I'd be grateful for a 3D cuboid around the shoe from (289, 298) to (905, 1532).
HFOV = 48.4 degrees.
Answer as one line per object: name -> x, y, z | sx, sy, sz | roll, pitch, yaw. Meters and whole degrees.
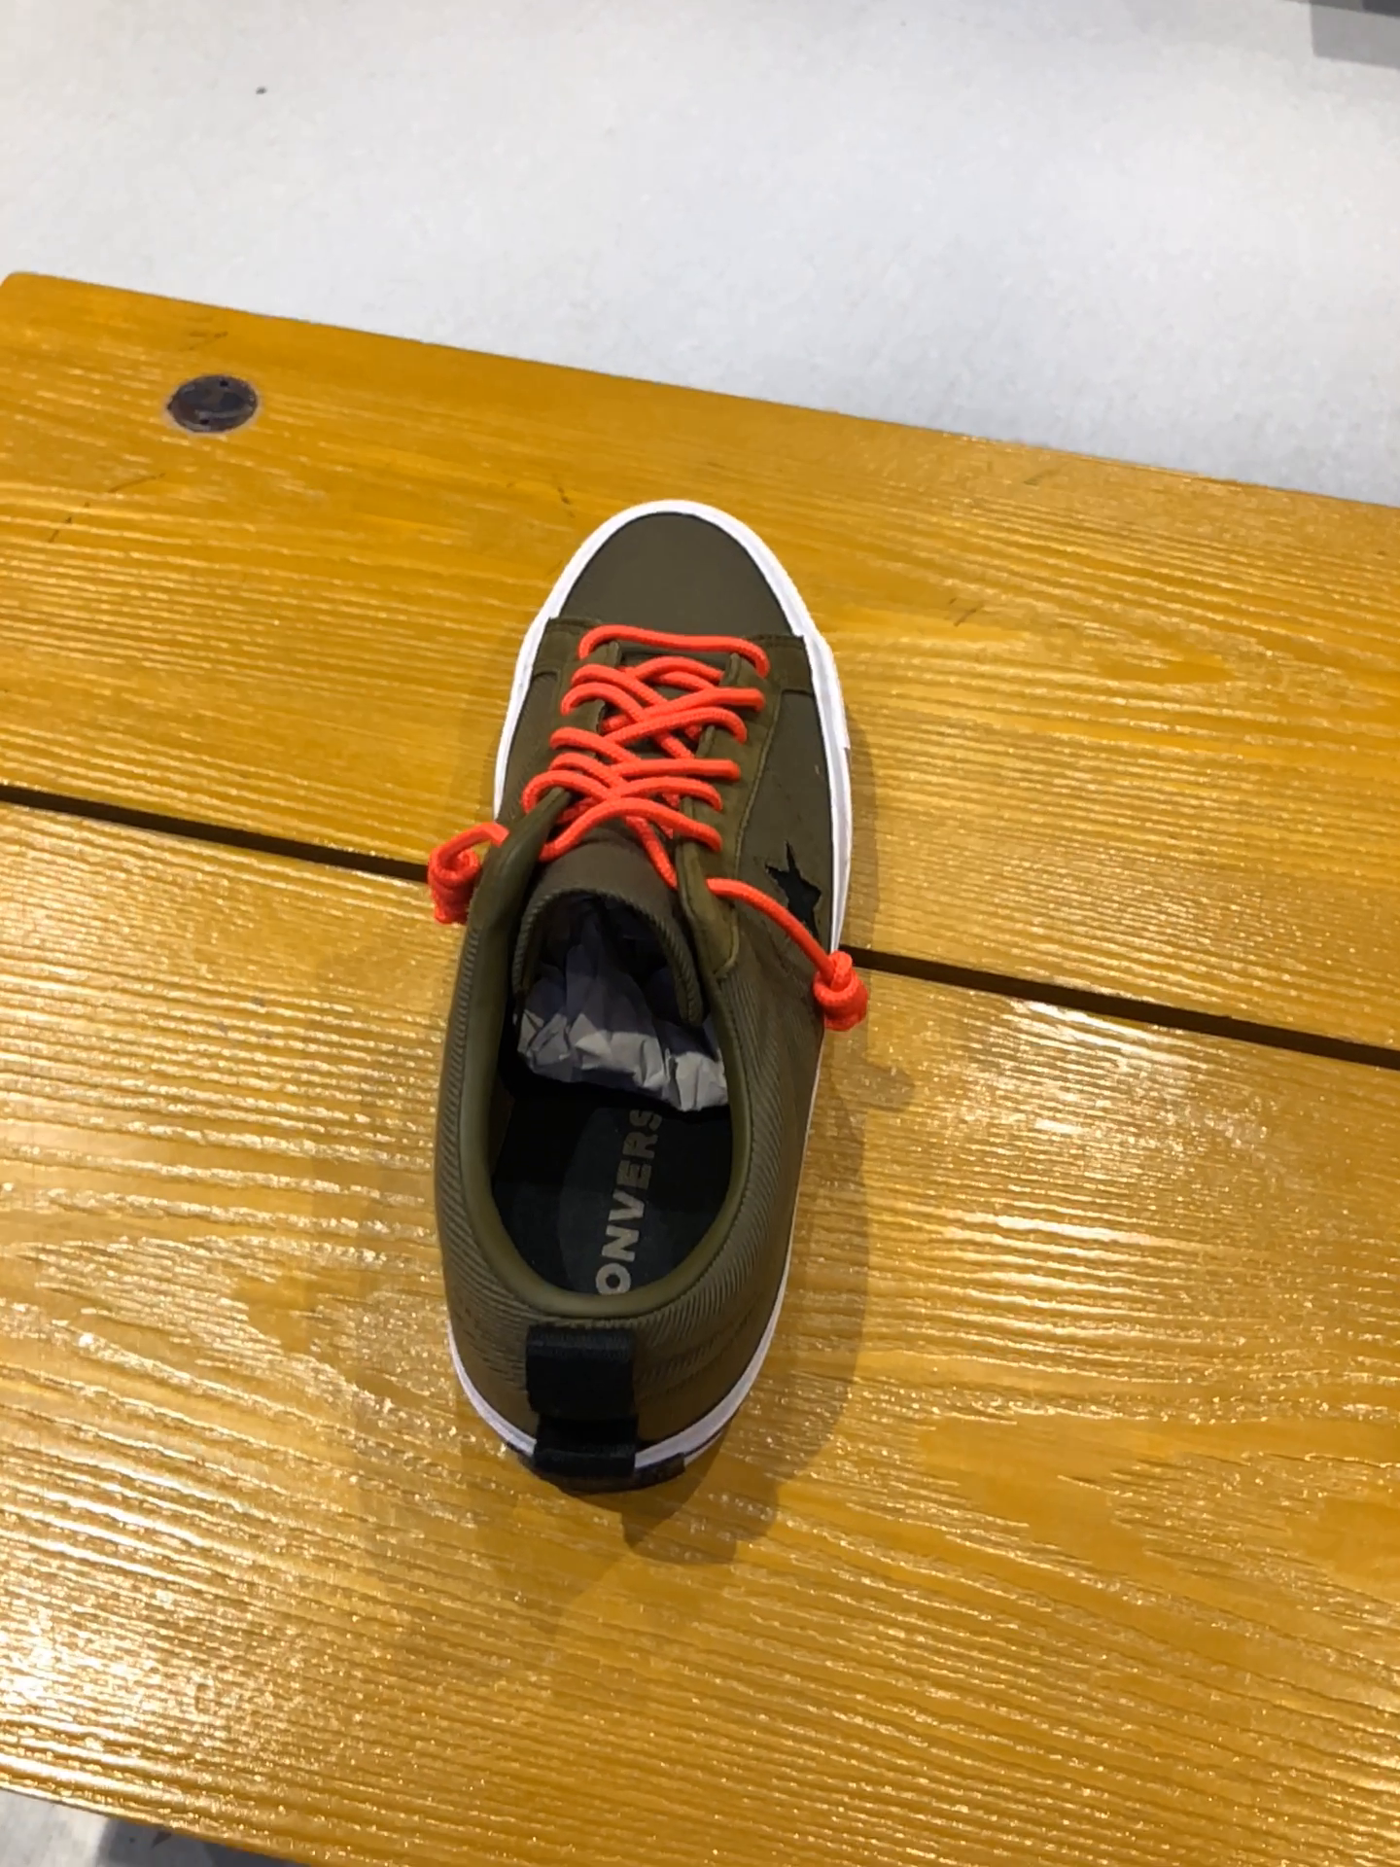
shoe -> -0.010, -0.020, 0.385 | 0.105, 0.097, 0.294 | 5, 57, 0
